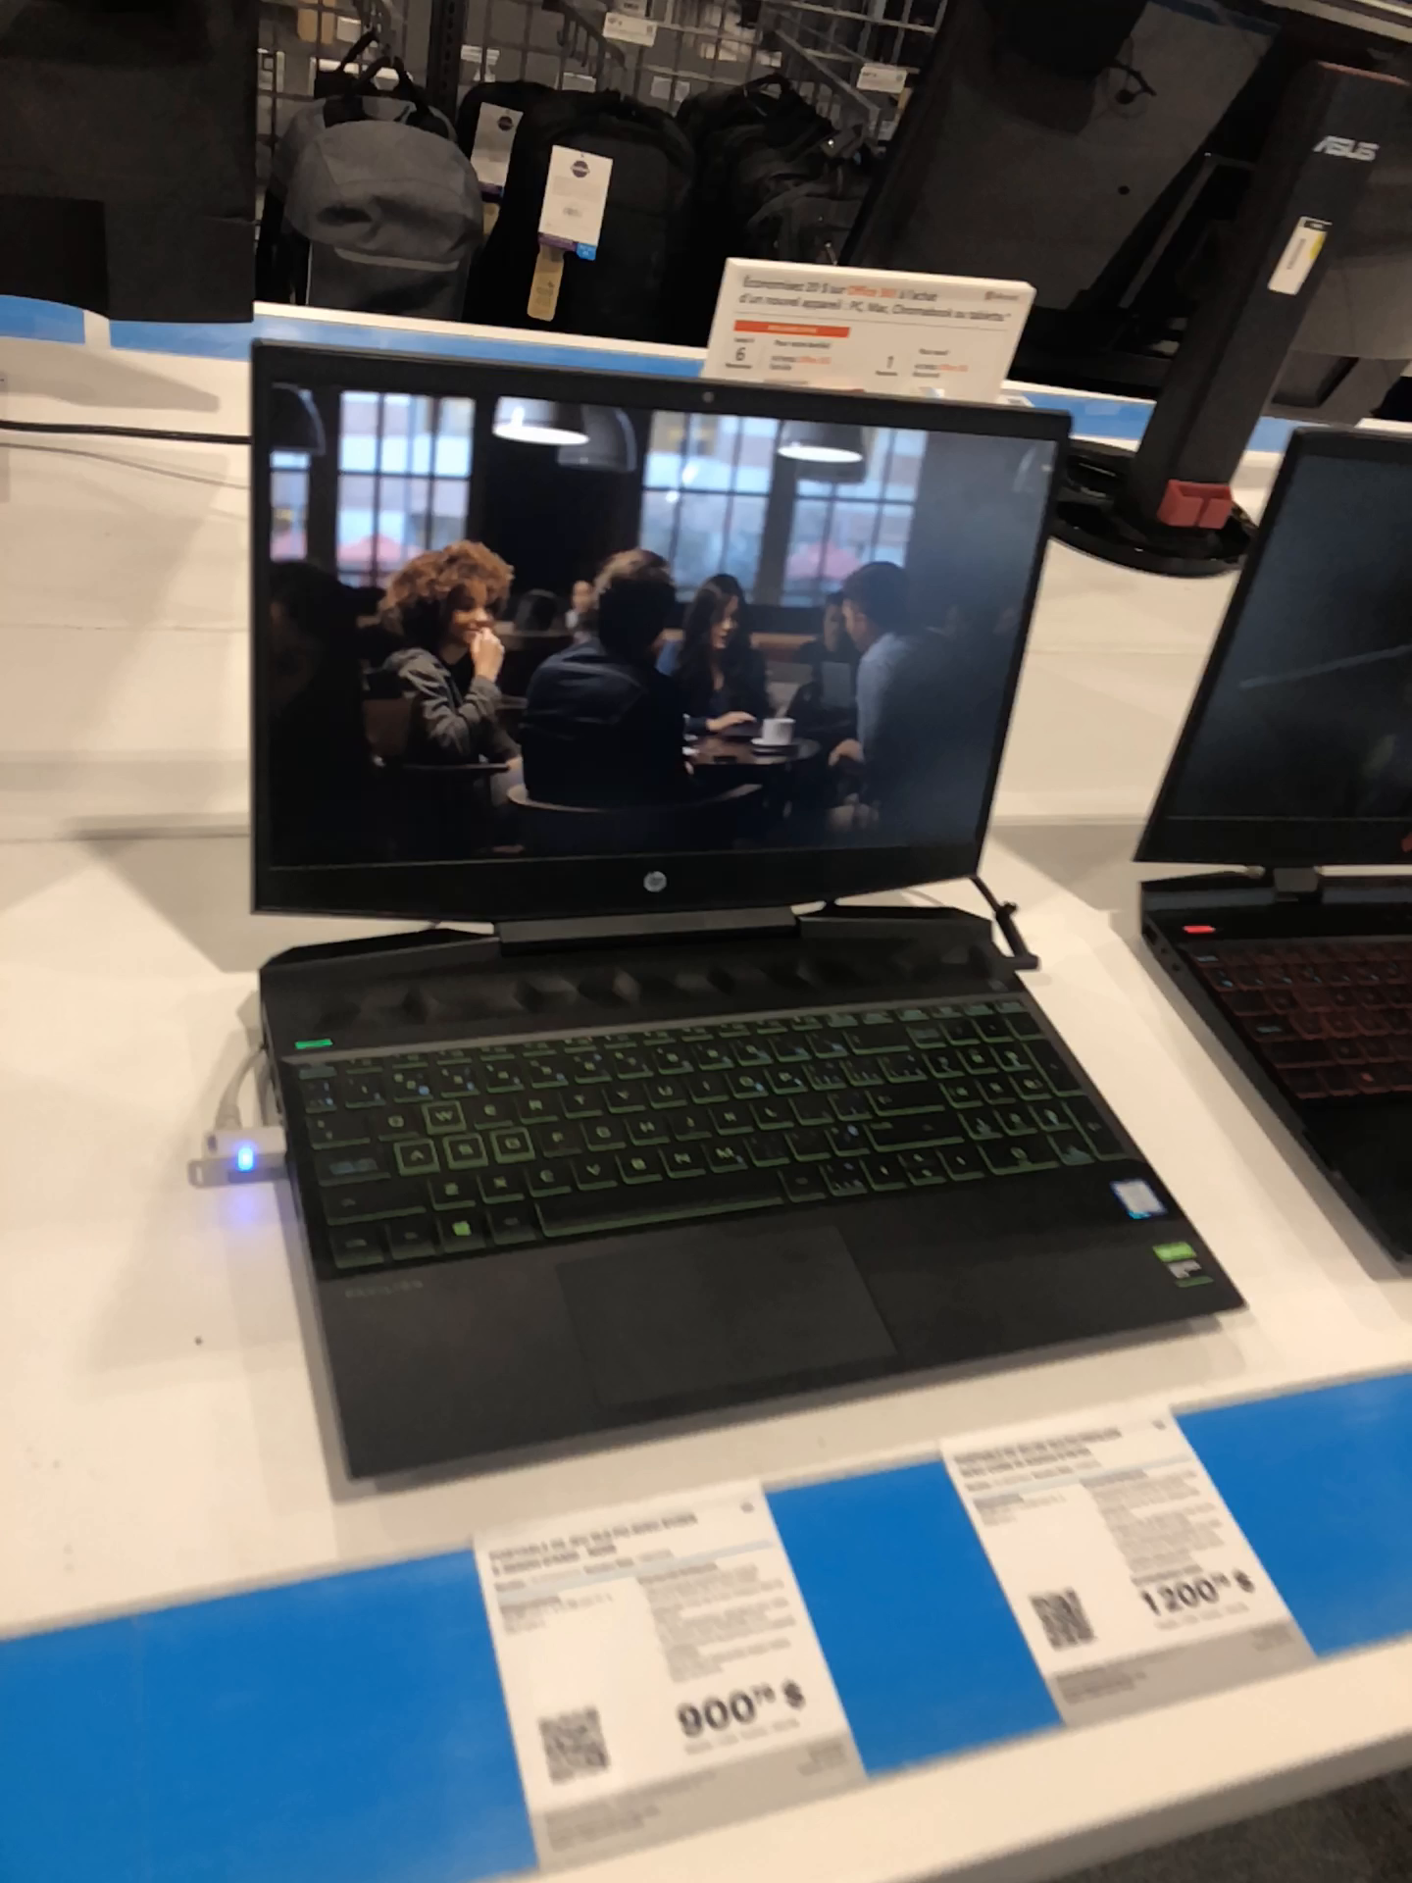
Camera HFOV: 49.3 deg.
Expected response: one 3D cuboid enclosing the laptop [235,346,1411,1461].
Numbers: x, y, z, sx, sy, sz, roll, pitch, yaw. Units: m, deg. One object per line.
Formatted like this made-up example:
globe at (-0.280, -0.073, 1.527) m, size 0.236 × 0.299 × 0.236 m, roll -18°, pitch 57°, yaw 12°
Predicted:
laptop at (0.025, -0.035, 0.595) m, size 0.355 × 0.232 × 0.317 m, roll -3°, pitch 41°, yaw -24°
